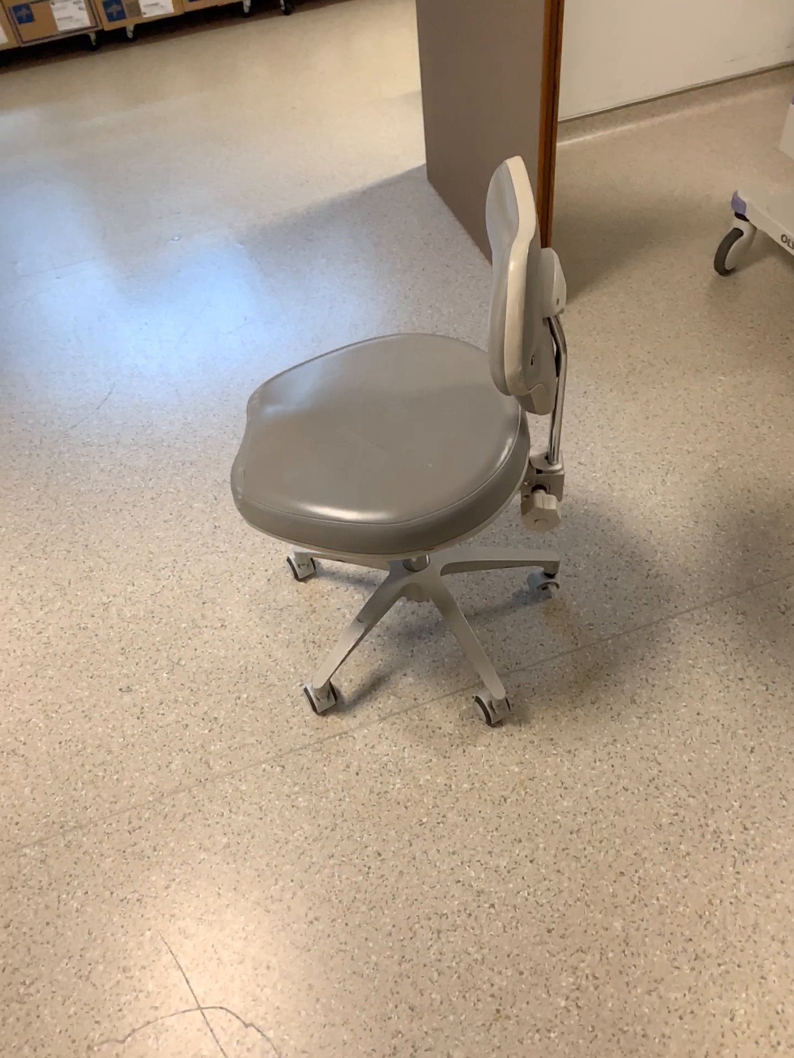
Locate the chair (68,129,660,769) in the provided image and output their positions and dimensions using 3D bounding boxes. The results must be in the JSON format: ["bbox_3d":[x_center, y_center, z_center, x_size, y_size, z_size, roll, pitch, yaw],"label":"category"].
[{"bbox_3d":[0.001,-0.080,1.319,0.600,0.823,0.605,-2,48,5],"label":"chair"}]
